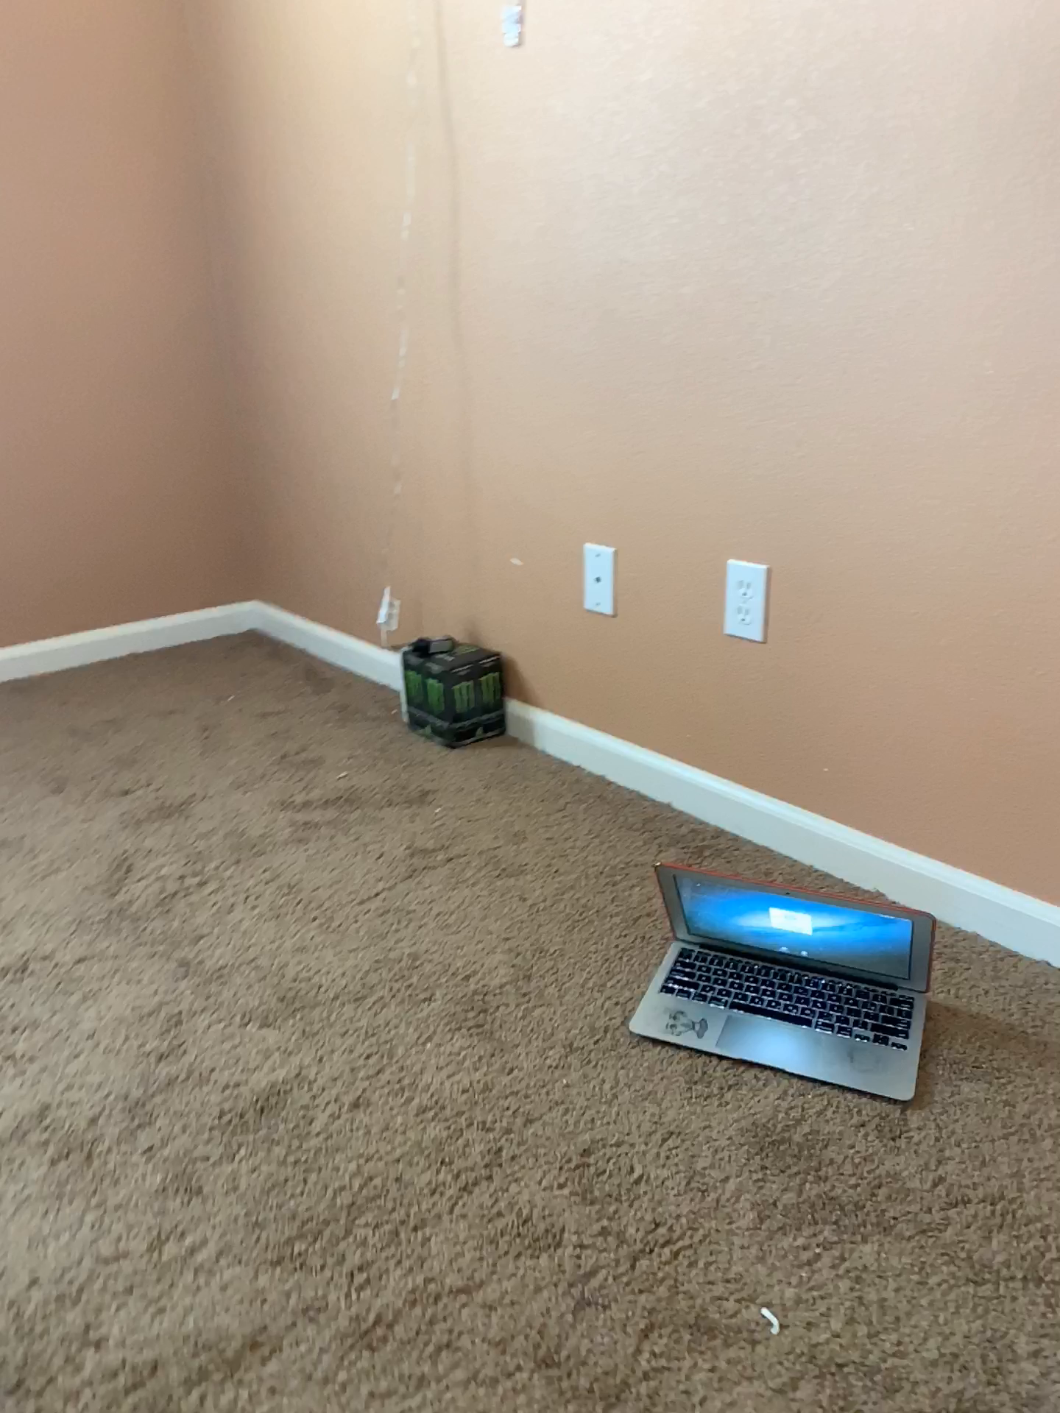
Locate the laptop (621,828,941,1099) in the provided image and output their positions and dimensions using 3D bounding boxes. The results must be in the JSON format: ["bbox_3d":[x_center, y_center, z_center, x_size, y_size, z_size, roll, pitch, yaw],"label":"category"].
[{"bbox_3d":[0.272,0.264,1.168,0.298,0.148,0.194,7,21,22],"label":"laptop"}]
